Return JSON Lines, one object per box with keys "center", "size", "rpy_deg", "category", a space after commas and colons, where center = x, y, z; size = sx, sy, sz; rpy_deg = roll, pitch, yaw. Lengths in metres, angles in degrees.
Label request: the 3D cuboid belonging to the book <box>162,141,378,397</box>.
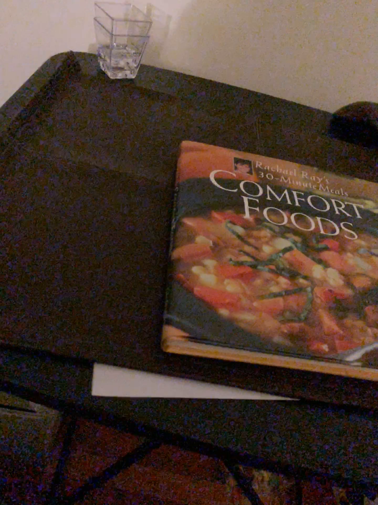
{"center": [0.086, -0.003, 0.297], "size": [0.200, 0.020, 0.201], "rpy_deg": [10, 45, -9], "category": "book"}
